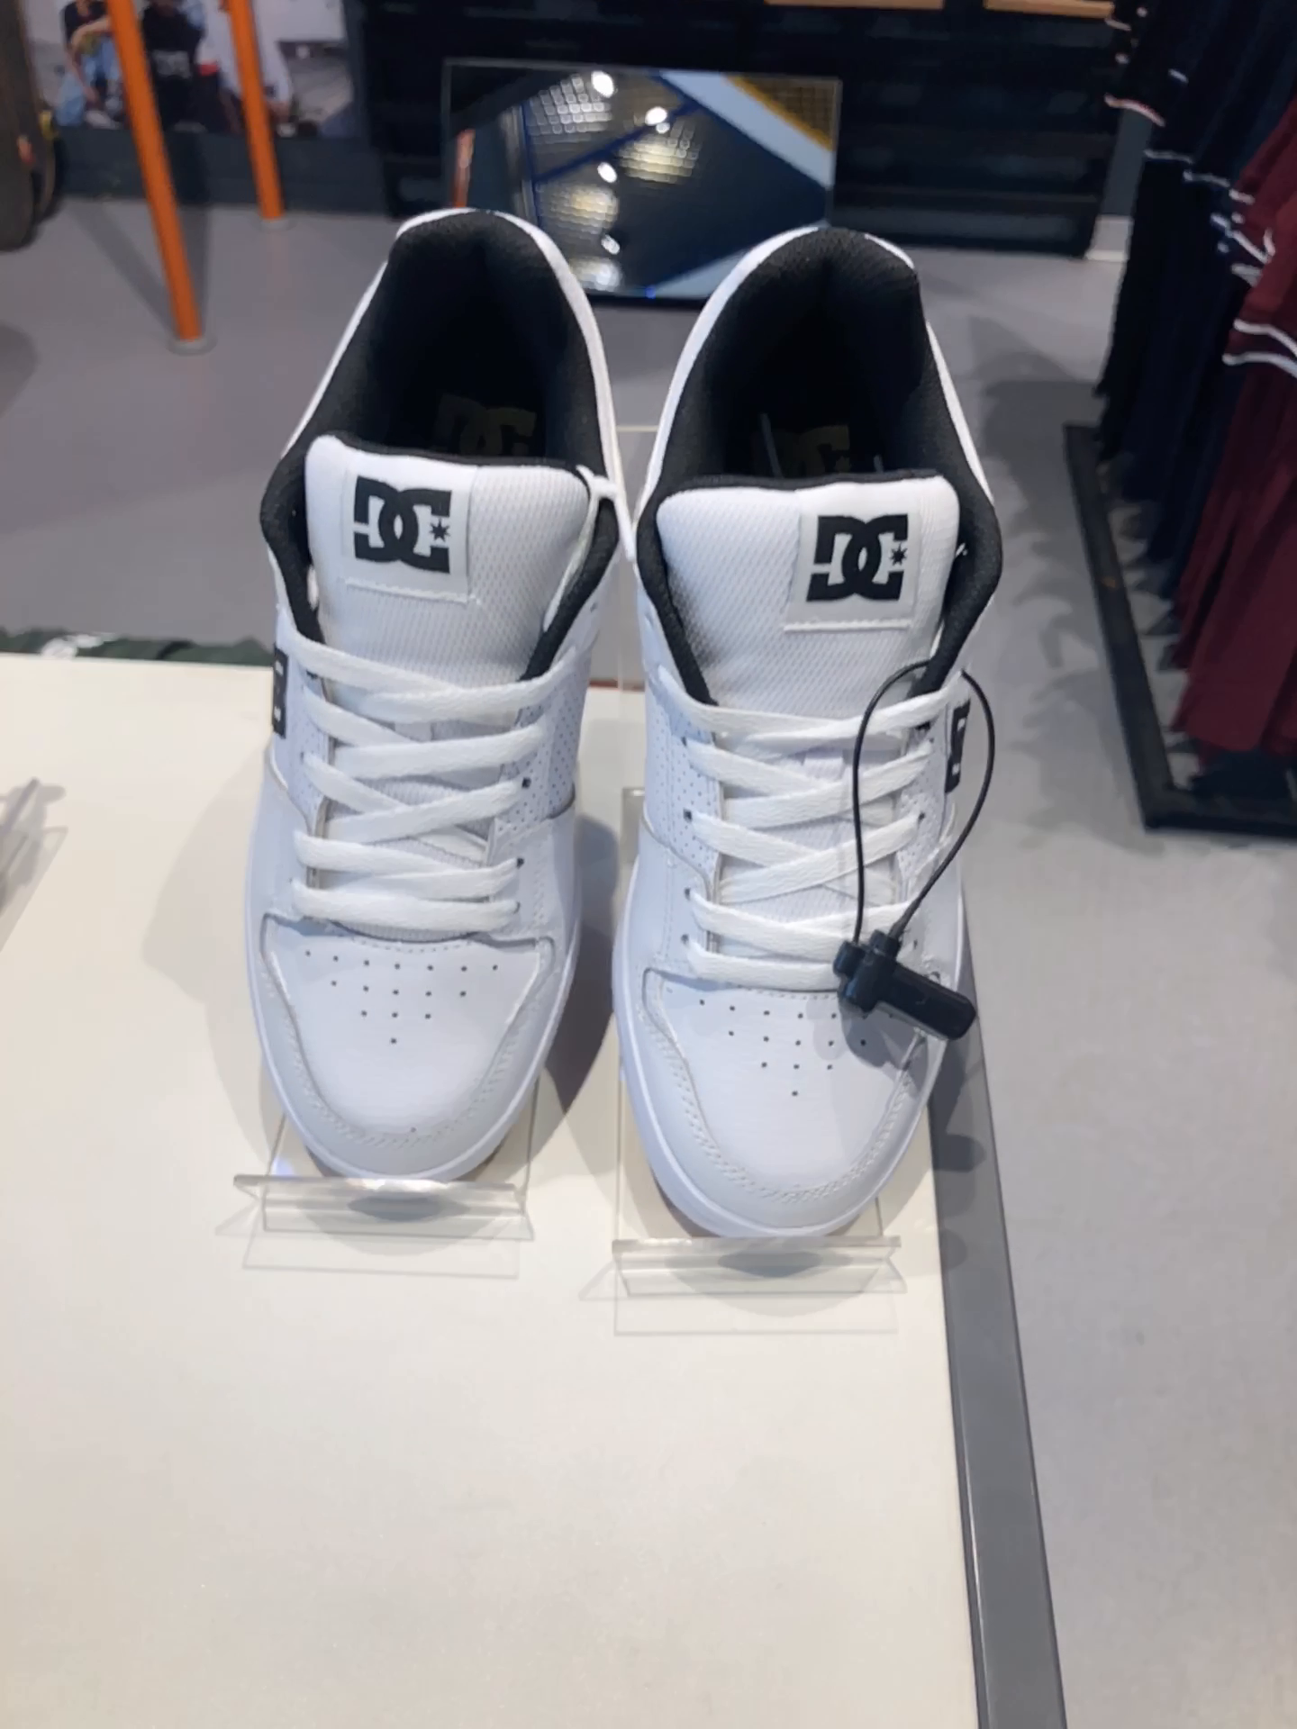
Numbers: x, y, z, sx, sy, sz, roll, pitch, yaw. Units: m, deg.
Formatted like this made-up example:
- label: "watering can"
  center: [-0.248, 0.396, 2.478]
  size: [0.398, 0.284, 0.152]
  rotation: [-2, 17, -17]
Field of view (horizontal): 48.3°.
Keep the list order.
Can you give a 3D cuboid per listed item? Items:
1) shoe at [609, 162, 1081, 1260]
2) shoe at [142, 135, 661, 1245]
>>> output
- label: "shoe"
  center: [0.043, -0.036, 0.387]
  size: [0.095, 0.250, 0.102]
  rotation: [3, 4, -2]
- label: "shoe"
  center: [-0.062, -0.044, 0.401]
  size: [0.103, 0.259, 0.102]
  rotation: [5, 5, 3]
